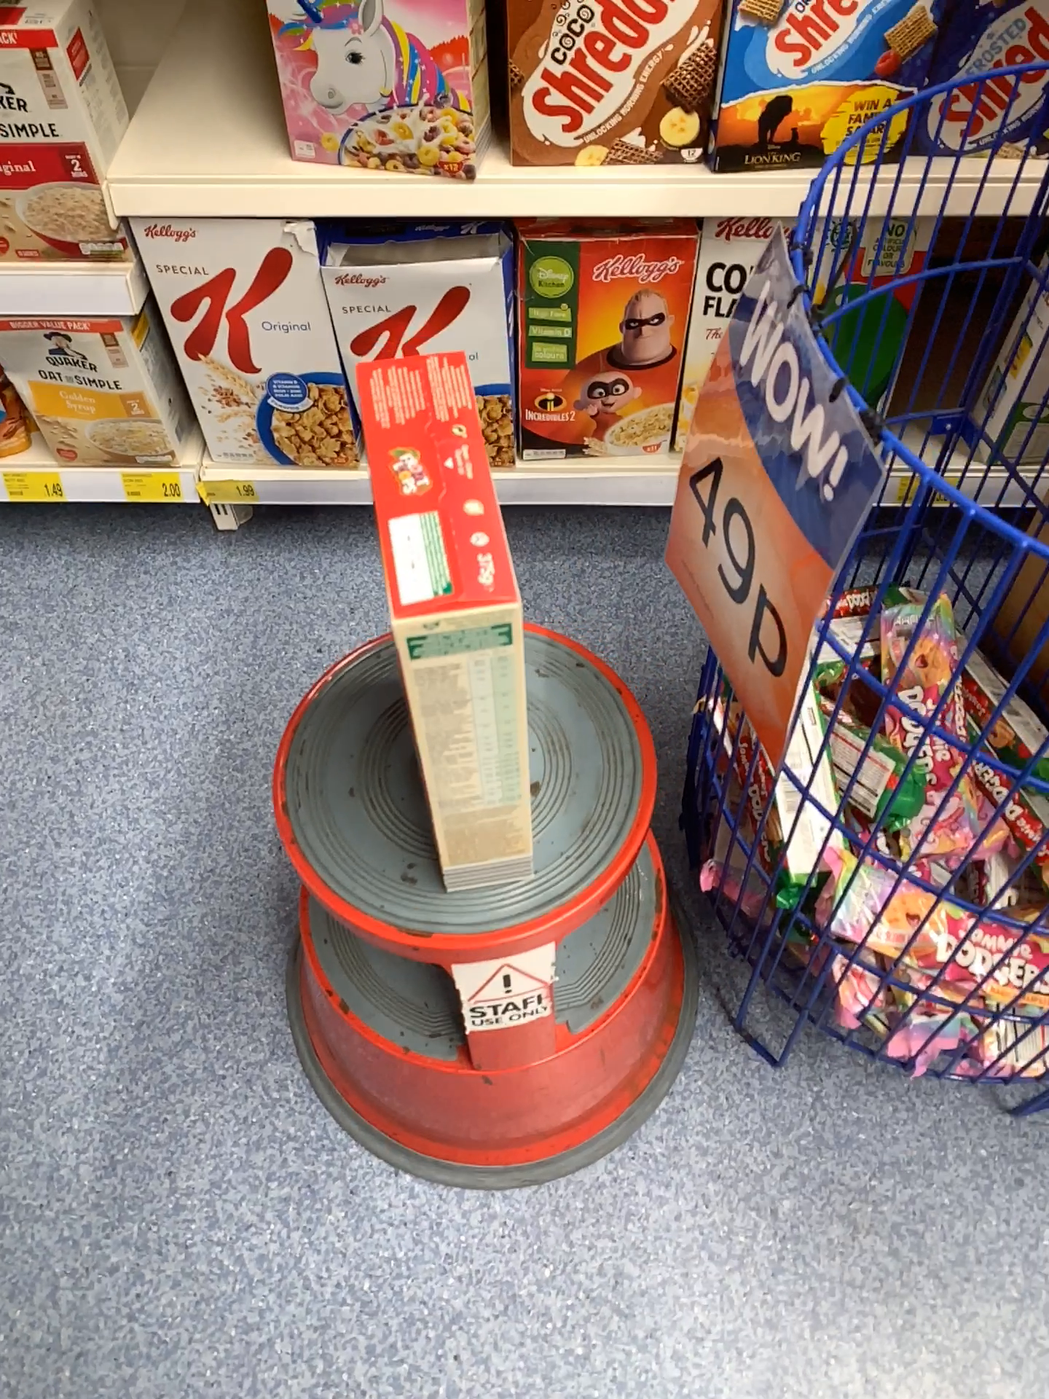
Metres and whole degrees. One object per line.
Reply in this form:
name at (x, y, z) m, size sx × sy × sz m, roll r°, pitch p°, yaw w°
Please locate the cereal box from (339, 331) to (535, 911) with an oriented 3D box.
cereal box at (-0.048, -0.033, 0.647) m, size 0.070 × 0.288 × 0.212 m, roll -9°, pitch 55°, yaw -5°
